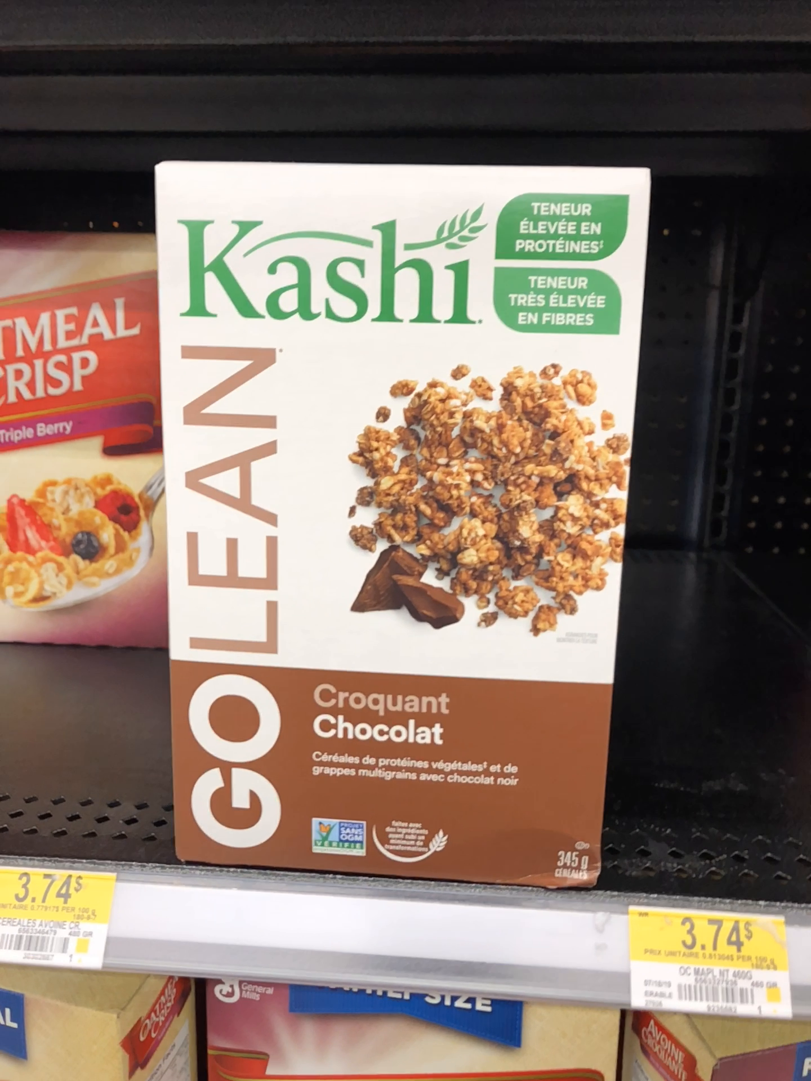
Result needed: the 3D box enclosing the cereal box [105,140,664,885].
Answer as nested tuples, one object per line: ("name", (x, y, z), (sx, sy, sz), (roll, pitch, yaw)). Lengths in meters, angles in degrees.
("cereal box", (-0.008, -0.006, 0.326), (0.170, 0.249, 0.050), (2, 14, 4))
